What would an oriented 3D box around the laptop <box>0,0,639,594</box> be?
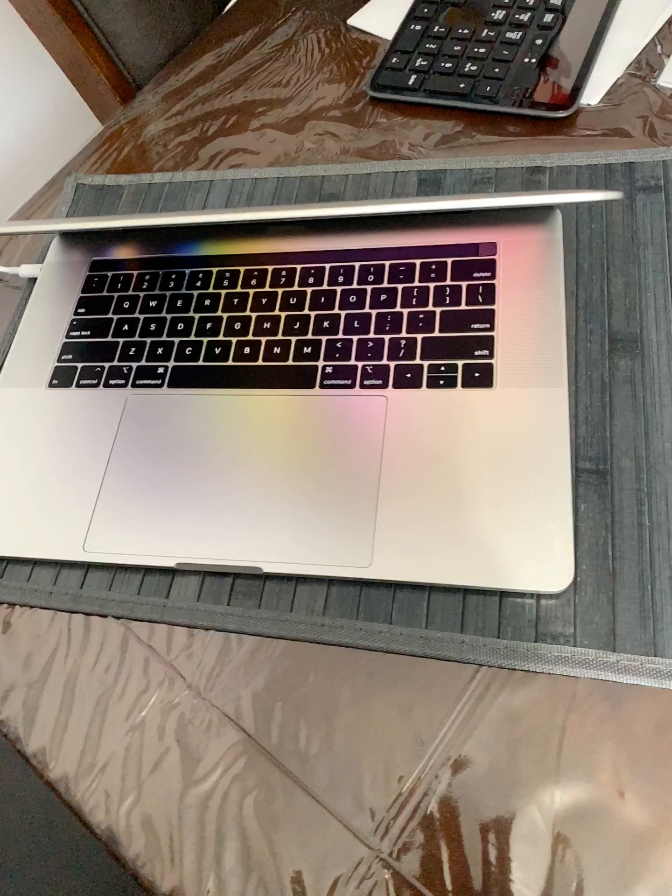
[{"bbox_3d":[-0.061,-0.081,0.331,0.342,0.166,0.233,1,64,14],"label":"laptop"}]
